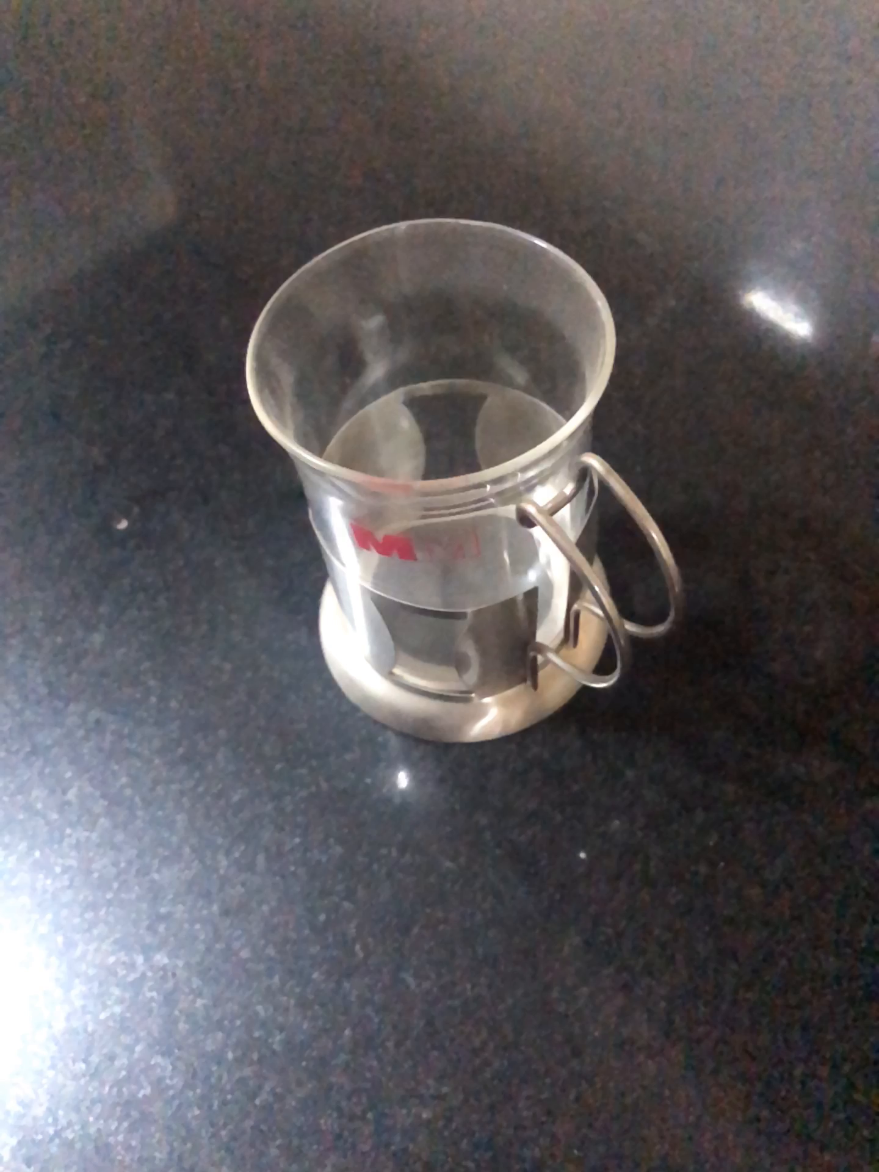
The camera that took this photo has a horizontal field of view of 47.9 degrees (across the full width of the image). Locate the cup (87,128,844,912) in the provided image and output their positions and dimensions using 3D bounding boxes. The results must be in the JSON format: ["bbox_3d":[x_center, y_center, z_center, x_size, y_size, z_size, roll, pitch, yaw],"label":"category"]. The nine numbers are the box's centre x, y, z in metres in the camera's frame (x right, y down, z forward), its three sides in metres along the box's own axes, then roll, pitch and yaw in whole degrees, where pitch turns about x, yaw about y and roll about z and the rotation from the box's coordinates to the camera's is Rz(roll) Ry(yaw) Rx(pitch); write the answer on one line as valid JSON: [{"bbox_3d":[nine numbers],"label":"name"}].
[{"bbox_3d":[0.004,-0.011,0.219,0.080,0.109,0.110,-37,62,-16],"label":"cup"}]
